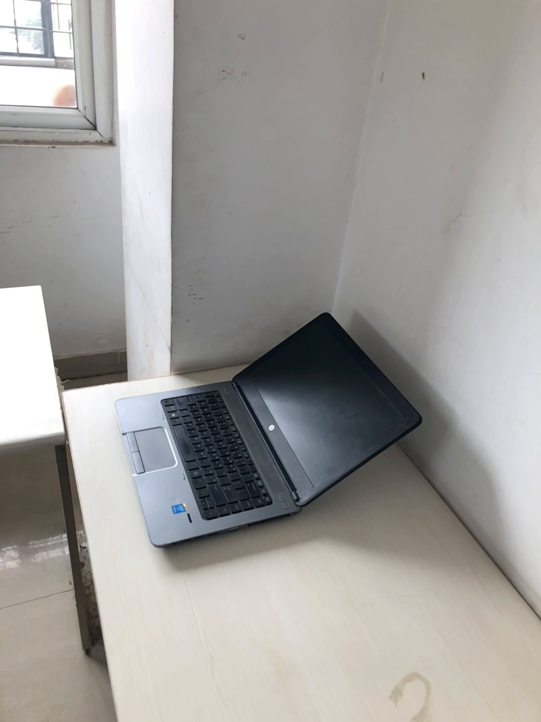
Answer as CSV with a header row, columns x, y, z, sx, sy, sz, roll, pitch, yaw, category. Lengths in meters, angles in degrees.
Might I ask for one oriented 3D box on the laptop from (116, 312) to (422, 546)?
x,y,z,sx,sy,sz,roll,pitch,yaw,category
-0.023,0.084,1.000,0.406,0.137,0.329,-9,38,-21,laptop
